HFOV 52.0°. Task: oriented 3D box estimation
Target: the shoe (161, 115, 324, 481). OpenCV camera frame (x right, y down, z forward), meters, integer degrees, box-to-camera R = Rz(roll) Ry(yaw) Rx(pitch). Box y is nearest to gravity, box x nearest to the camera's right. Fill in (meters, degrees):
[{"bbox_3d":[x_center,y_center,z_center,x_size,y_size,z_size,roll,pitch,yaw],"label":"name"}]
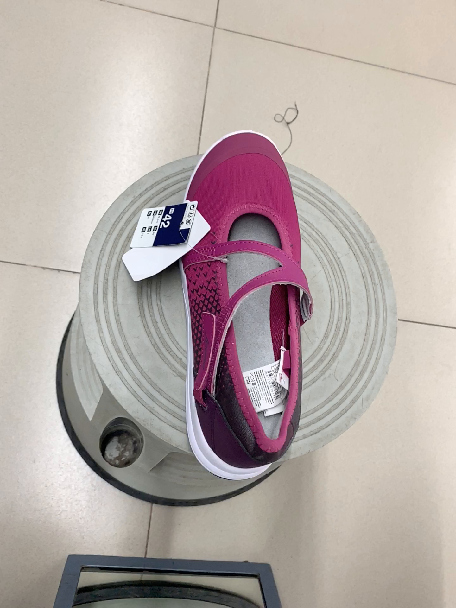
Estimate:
[{"bbox_3d":[0.002,-0.007,0.359,0.100,0.070,0.260,2,73,-11],"label":"shoe"}]
